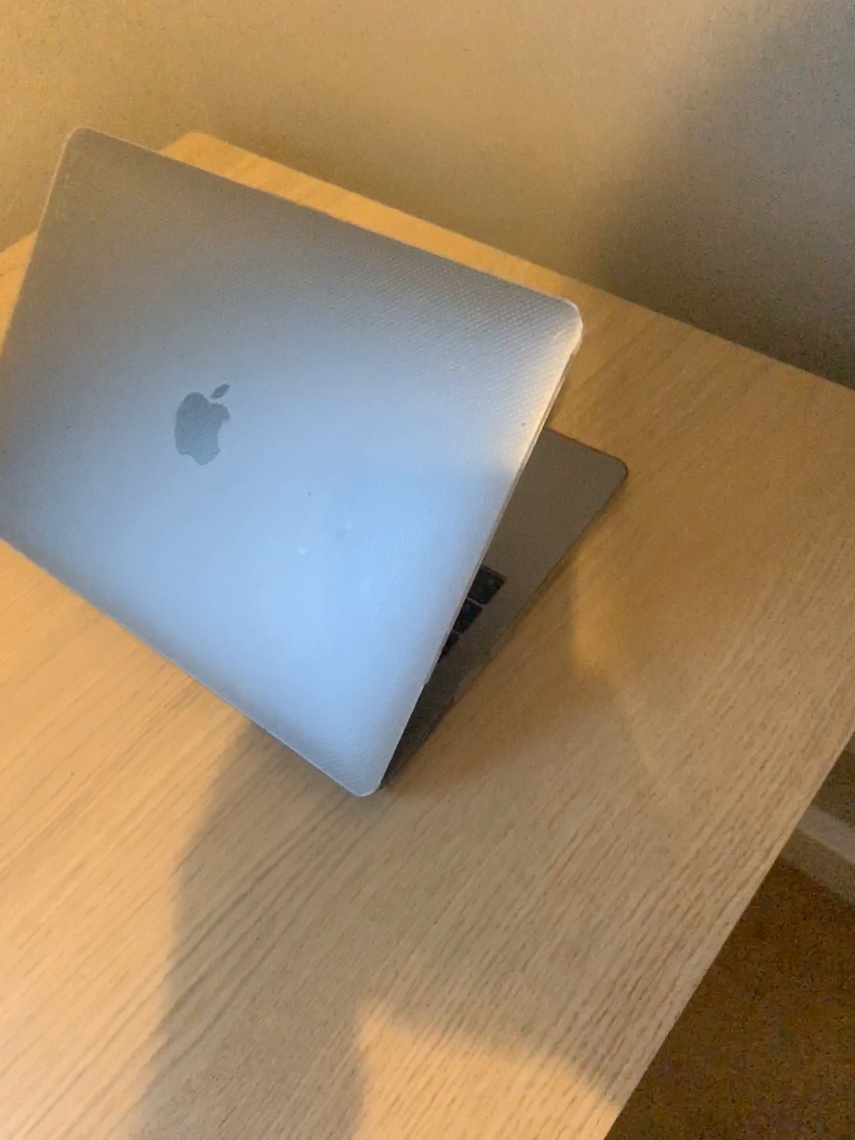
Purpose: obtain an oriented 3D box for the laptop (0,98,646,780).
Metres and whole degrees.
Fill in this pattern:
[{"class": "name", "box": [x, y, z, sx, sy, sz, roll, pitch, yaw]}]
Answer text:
[{"class": "laptop", "box": [-0.087, -0.087, 0.424, 0.309, 0.127, 0.207, 28, 61, 26]}]
